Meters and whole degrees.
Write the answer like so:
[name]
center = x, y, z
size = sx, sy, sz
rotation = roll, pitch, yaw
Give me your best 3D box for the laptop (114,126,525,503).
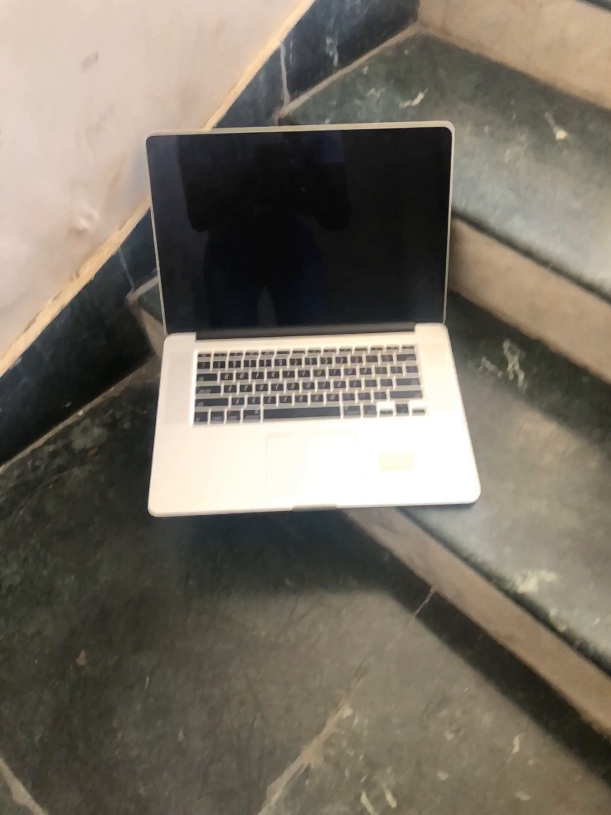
[laptop]
center = 0.002, -0.110, 0.740
size = 0.341, 0.194, 0.365
rotation = -3, 55, -1
